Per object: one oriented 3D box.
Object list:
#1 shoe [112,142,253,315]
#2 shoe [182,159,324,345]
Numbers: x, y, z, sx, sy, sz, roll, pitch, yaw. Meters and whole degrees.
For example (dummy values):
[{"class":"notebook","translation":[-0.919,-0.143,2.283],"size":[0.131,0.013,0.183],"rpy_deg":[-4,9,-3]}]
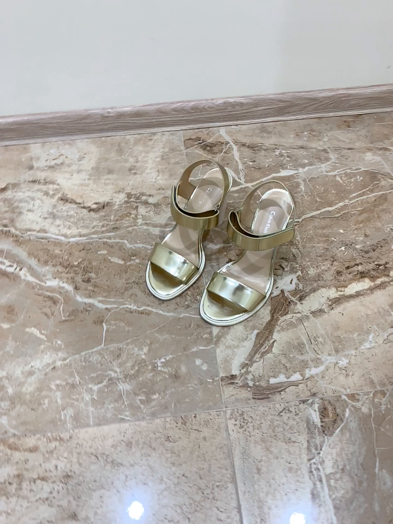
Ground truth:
[{"class":"shoe","translation":[-0.013,-0.055,0.619],"size":[0.095,0.129,0.221],"rpy_deg":[26,59,17]},{"class":"shoe","translation":[0.084,-0.020,0.591],"size":[0.100,0.120,0.231],"rpy_deg":[26,59,17]}]
